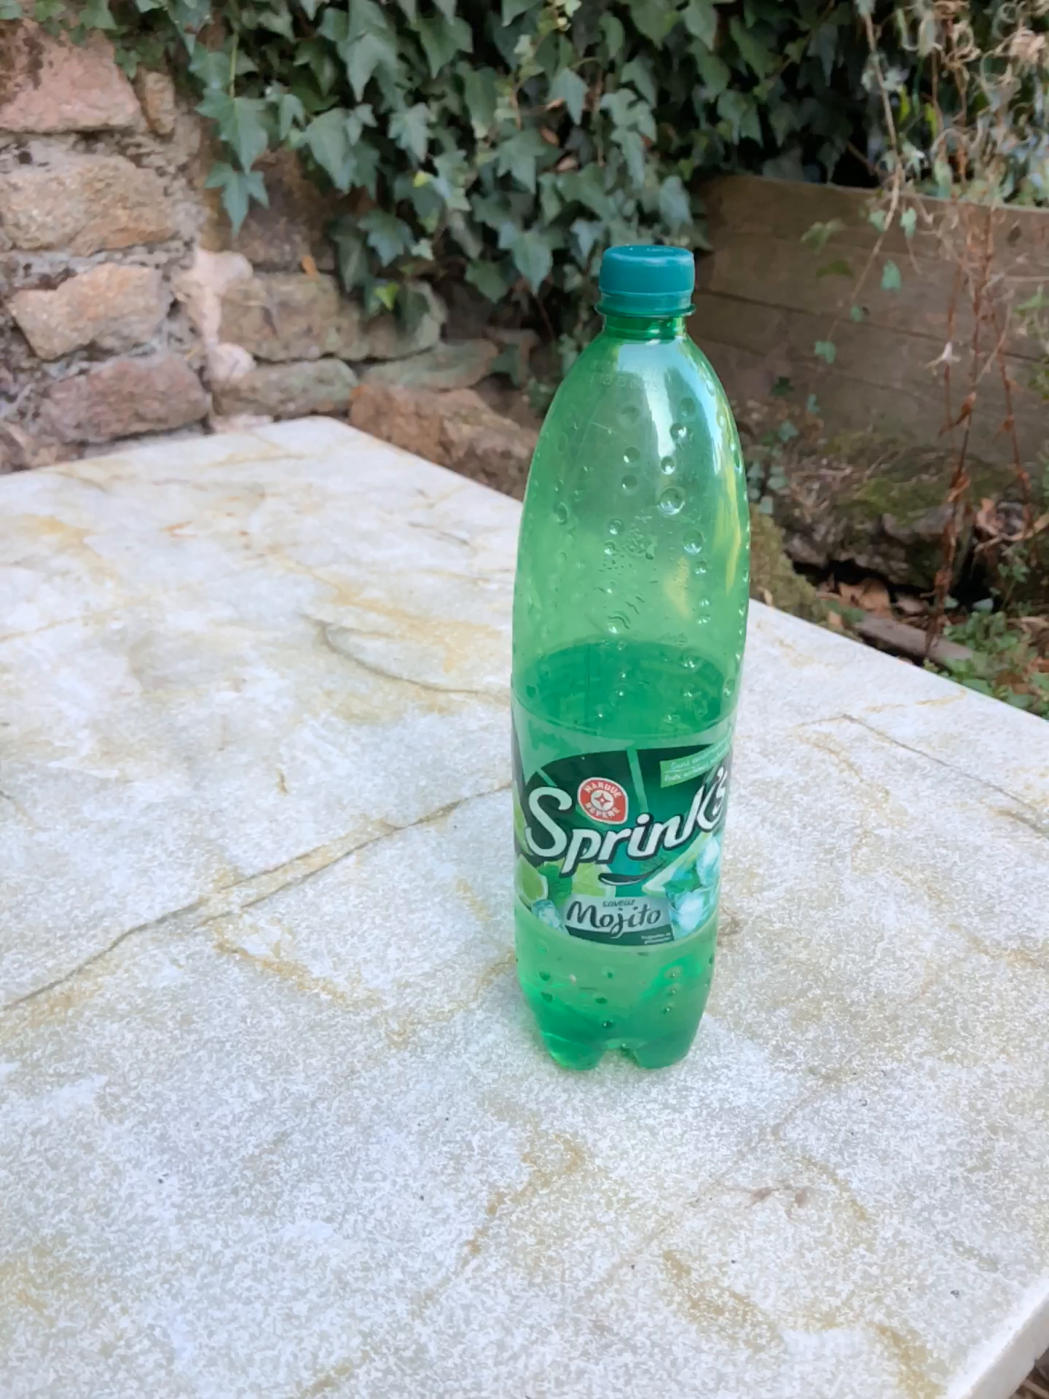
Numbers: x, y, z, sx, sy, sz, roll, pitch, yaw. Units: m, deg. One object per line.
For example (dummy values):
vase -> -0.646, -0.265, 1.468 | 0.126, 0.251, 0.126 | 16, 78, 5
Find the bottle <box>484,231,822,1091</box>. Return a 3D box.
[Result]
bottle -> 0.036, -0.001, 0.431 | 0.090, 0.308, 0.091 | 1, 30, -1
